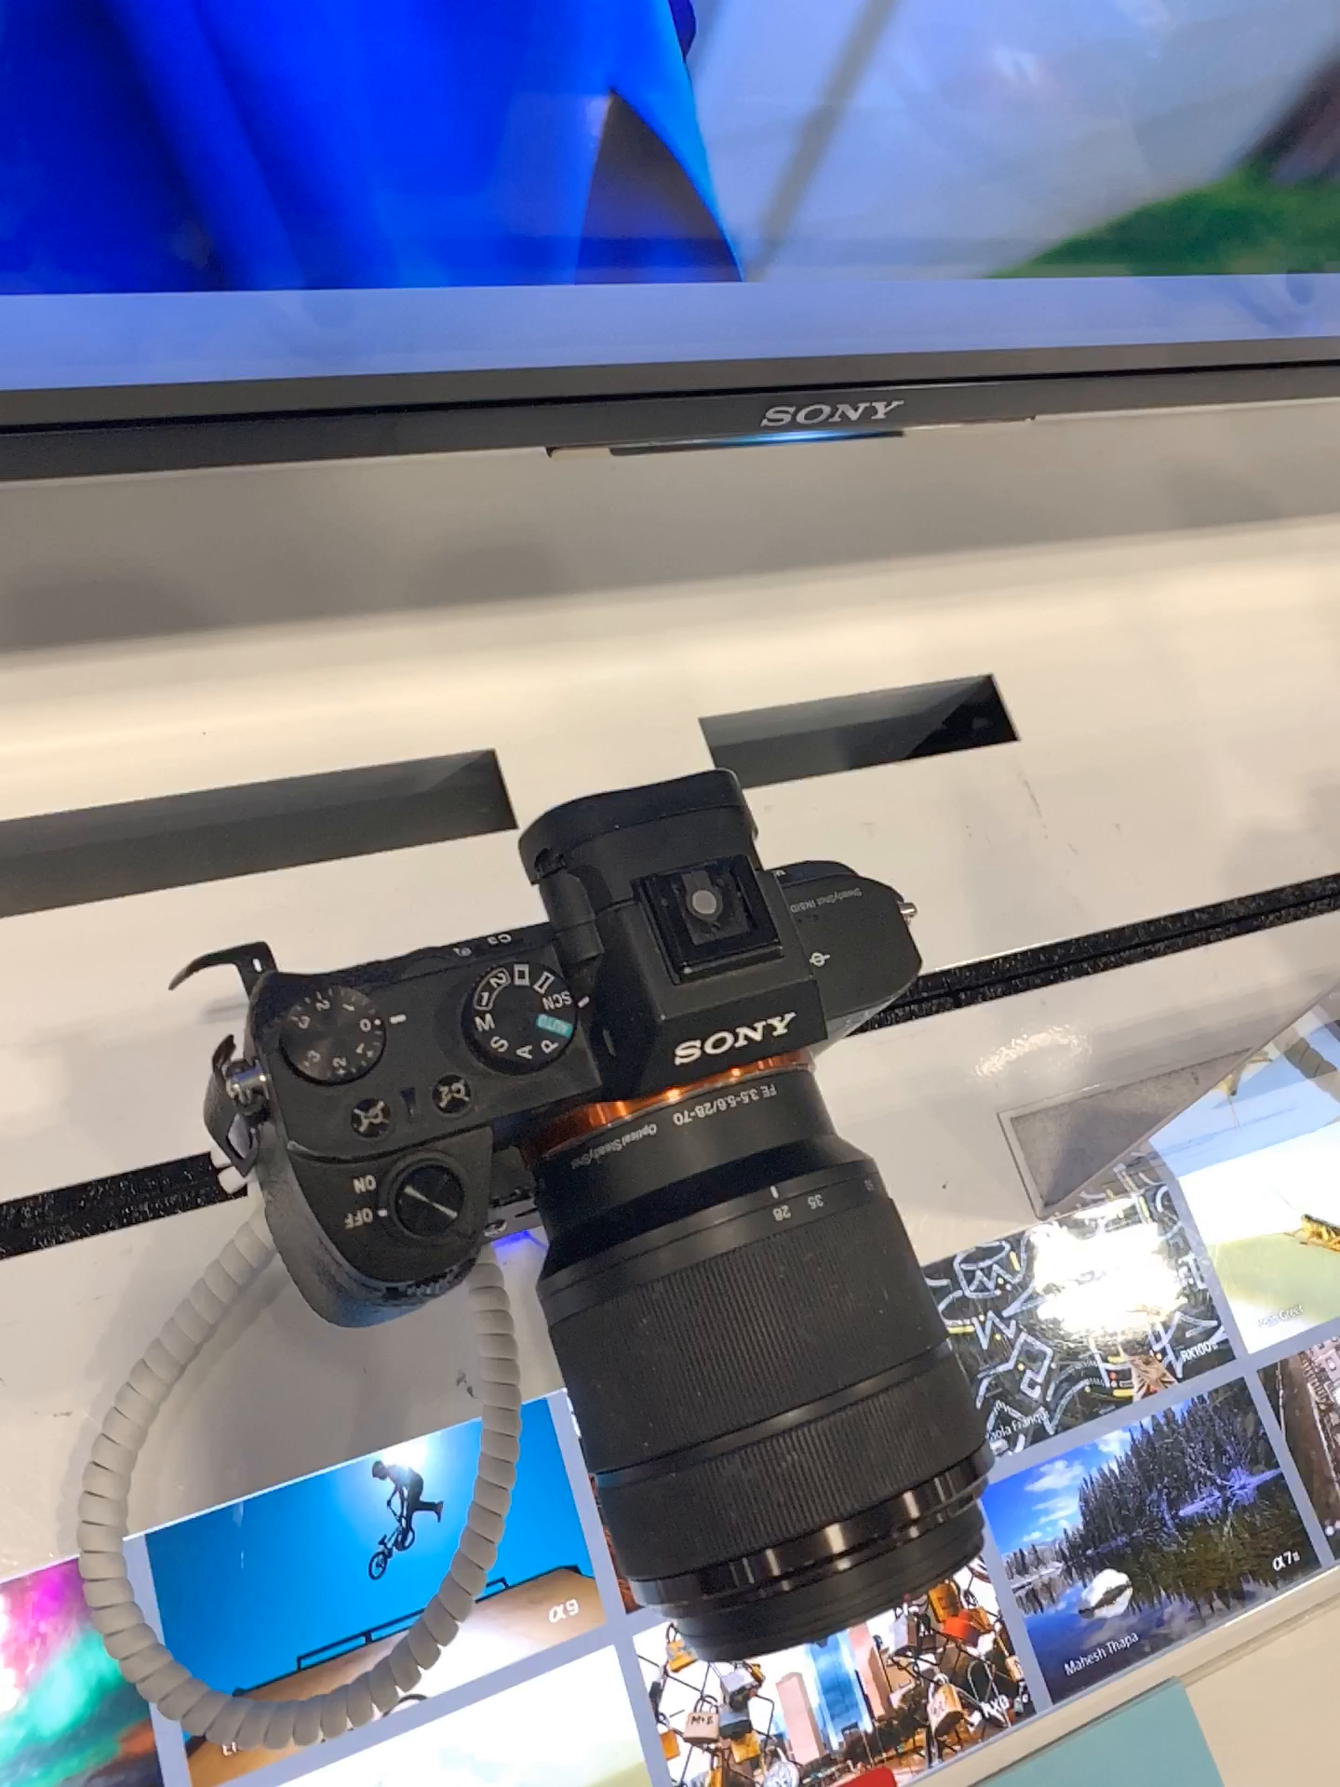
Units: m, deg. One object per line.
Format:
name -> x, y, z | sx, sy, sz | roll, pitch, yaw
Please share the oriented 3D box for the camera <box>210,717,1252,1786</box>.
camera -> -0.001, 0.061, 0.254 | 0.130, 0.090, 0.142 | -12, 73, -21
